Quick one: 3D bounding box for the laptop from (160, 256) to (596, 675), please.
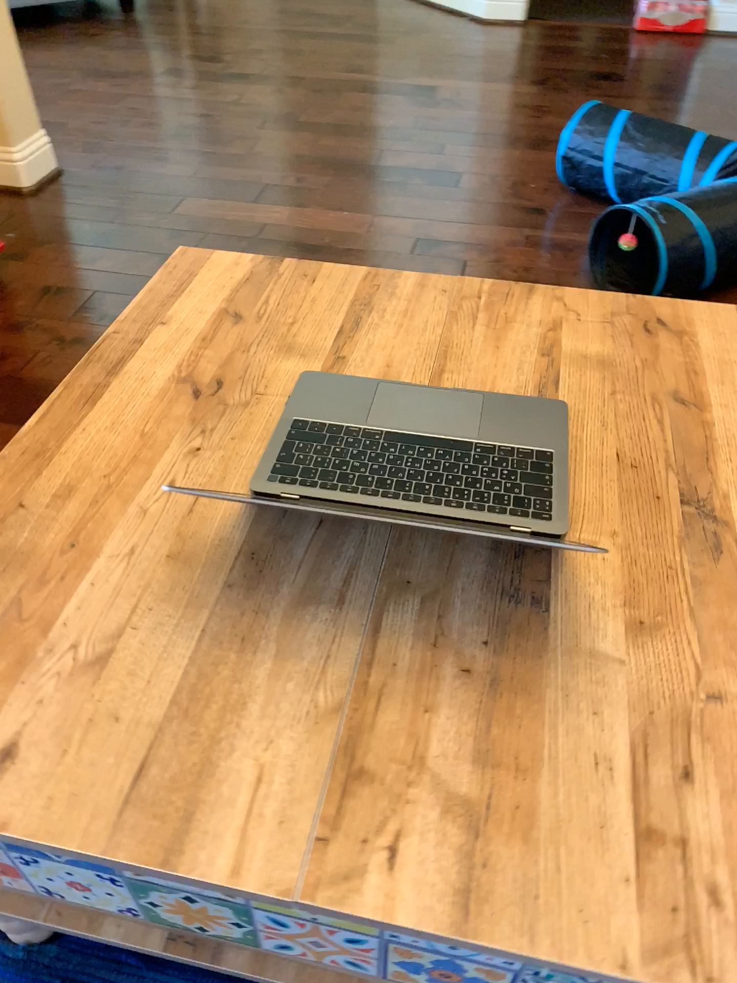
[{"bbox_3d":[0.037,-0.050,0.670,0.291,0.141,0.354,9,43,8],"label":"laptop"}]
